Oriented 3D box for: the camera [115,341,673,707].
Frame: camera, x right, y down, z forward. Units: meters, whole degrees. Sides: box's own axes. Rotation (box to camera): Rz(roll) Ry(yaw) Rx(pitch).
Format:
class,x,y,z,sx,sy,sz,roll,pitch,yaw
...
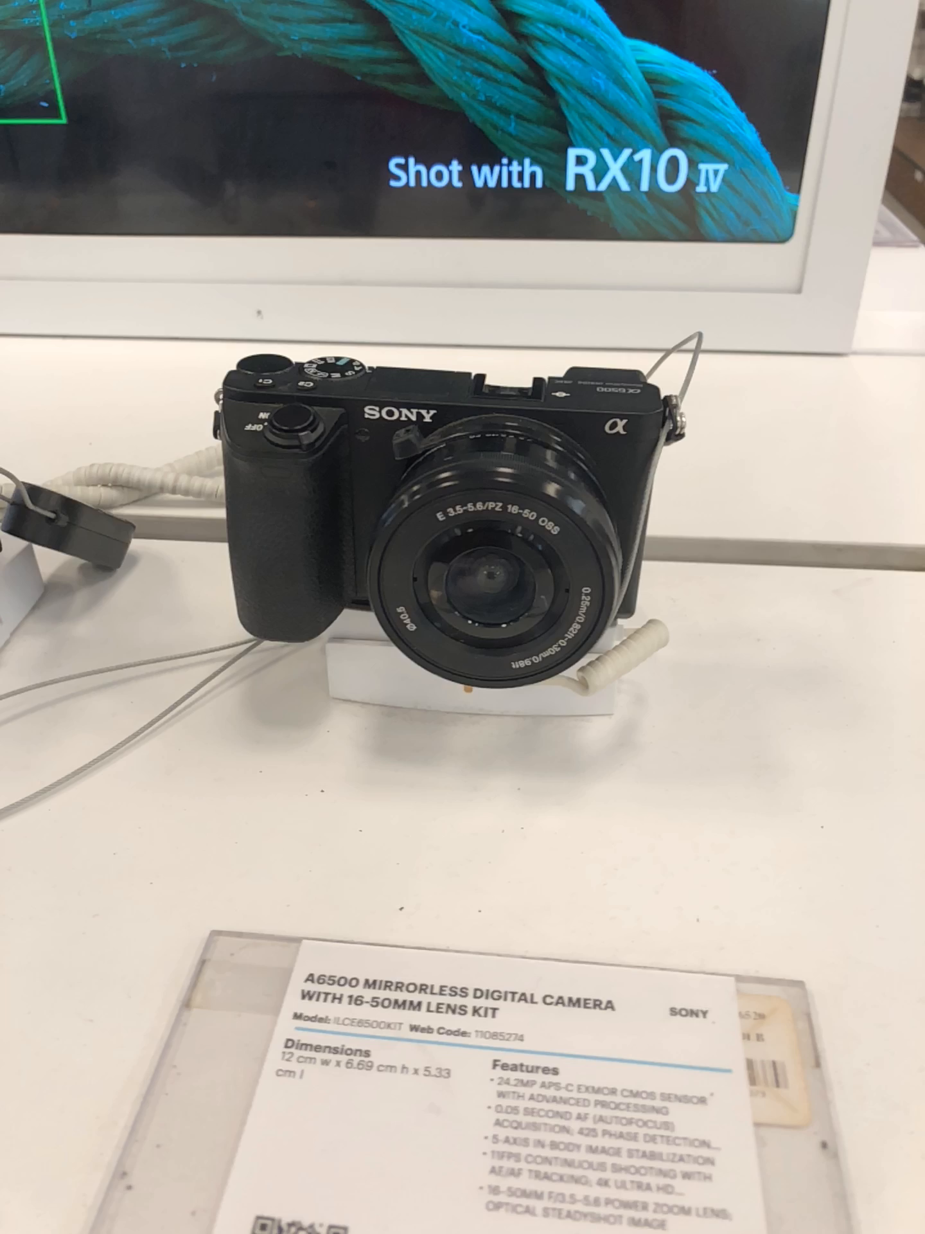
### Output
class,x,y,z,sx,sy,sz,roll,pitch,yaw
camera,-0.013,-0.029,0.284,0.130,0.070,0.070,3,34,7
